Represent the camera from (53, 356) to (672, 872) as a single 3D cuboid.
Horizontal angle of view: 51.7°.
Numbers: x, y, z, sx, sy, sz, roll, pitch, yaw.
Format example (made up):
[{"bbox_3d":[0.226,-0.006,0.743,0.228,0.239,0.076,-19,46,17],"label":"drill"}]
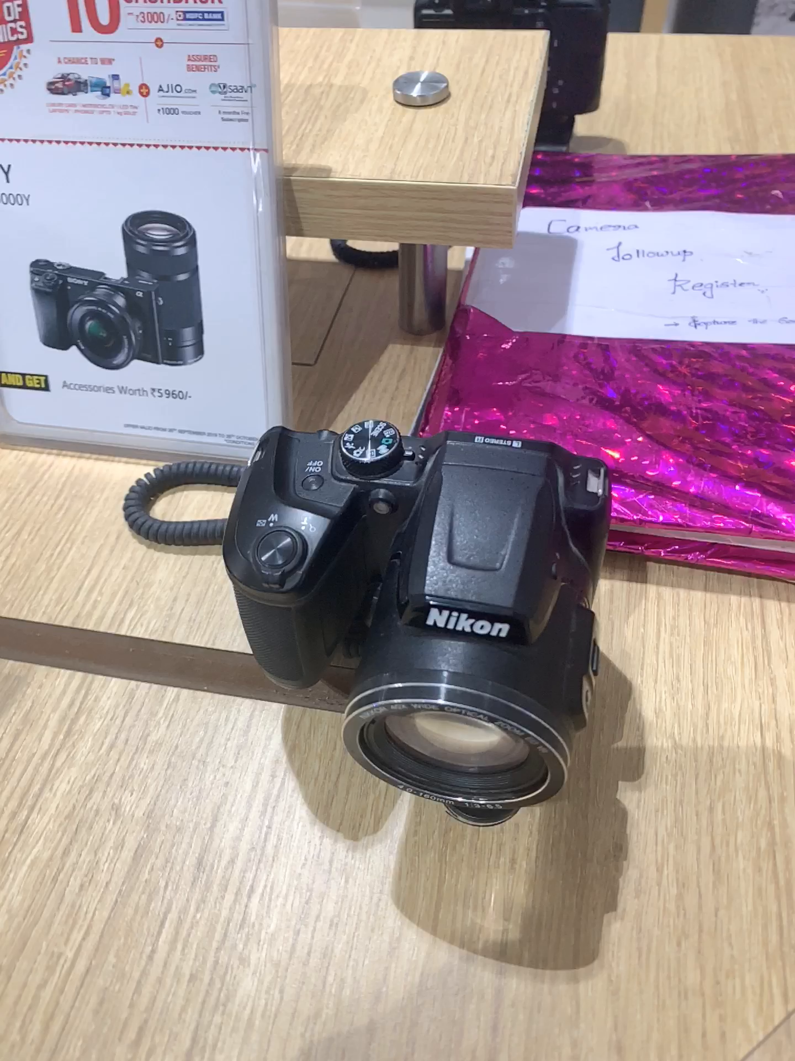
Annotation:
[{"bbox_3d":[0.000,0.021,0.230,0.130,0.090,0.090,8,50,10],"label":"camera"}]
